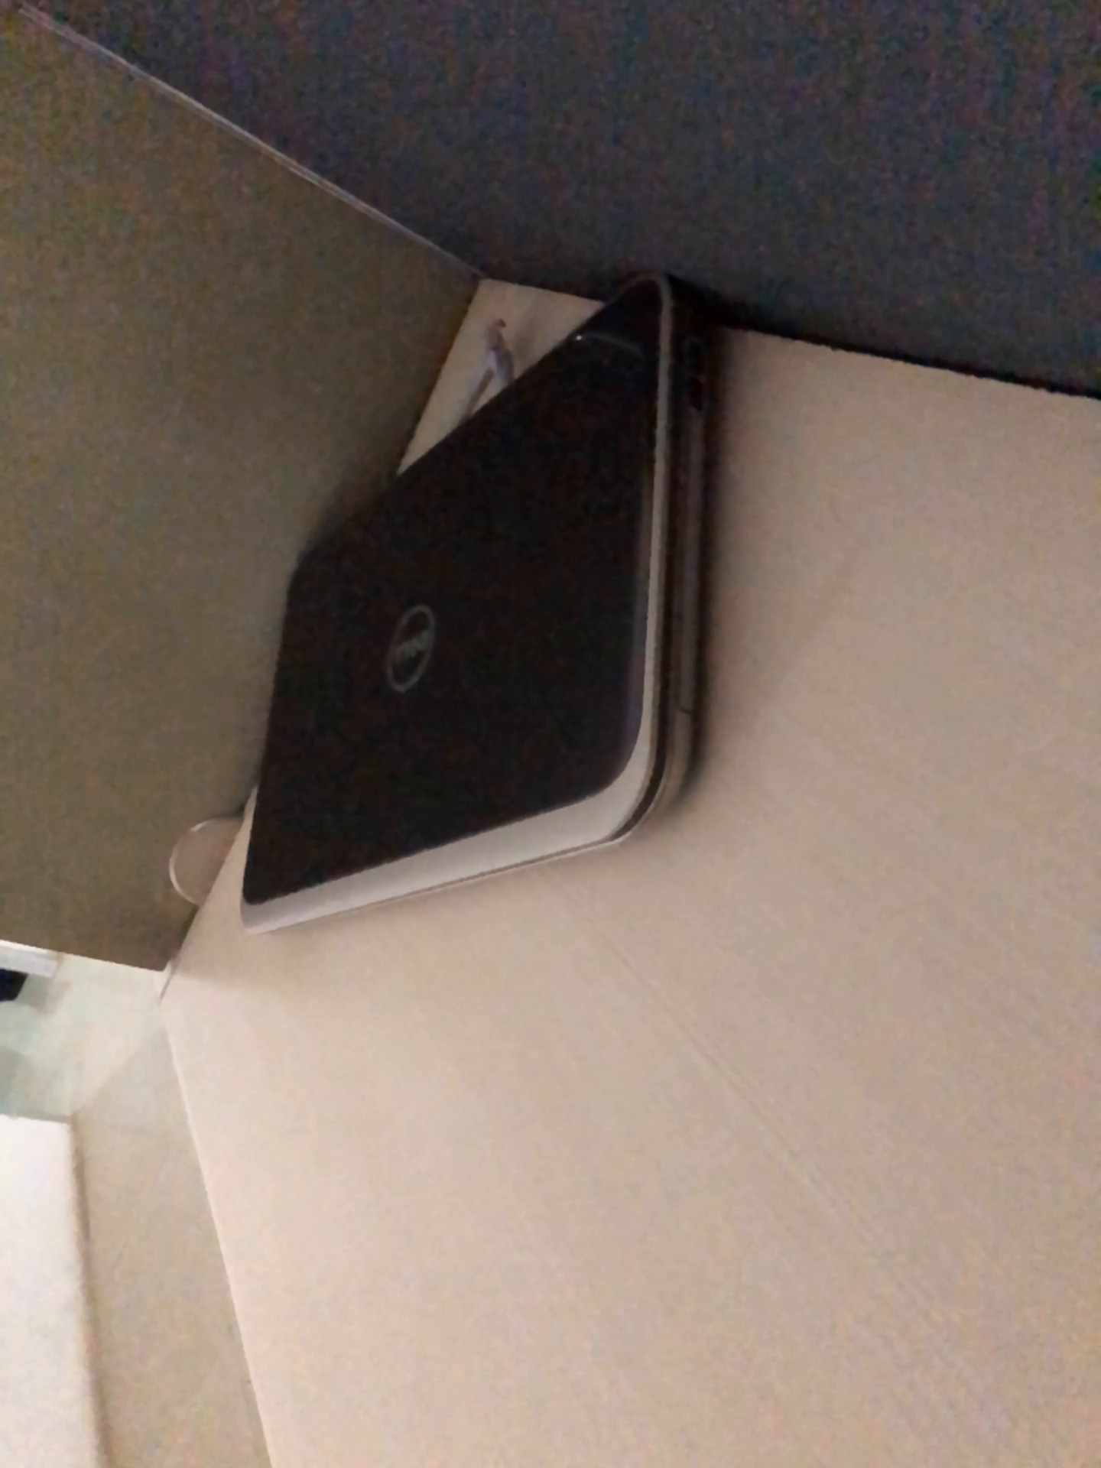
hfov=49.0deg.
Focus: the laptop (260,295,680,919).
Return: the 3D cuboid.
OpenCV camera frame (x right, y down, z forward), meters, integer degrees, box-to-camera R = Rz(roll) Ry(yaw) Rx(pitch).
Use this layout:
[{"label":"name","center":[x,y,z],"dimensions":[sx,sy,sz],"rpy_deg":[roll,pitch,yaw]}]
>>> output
[{"label":"laptop","center":[-0.060,-0.038,0.631],"dimensions":[0.373,0.010,0.246],"rpy_deg":[-21,56,54]}]
